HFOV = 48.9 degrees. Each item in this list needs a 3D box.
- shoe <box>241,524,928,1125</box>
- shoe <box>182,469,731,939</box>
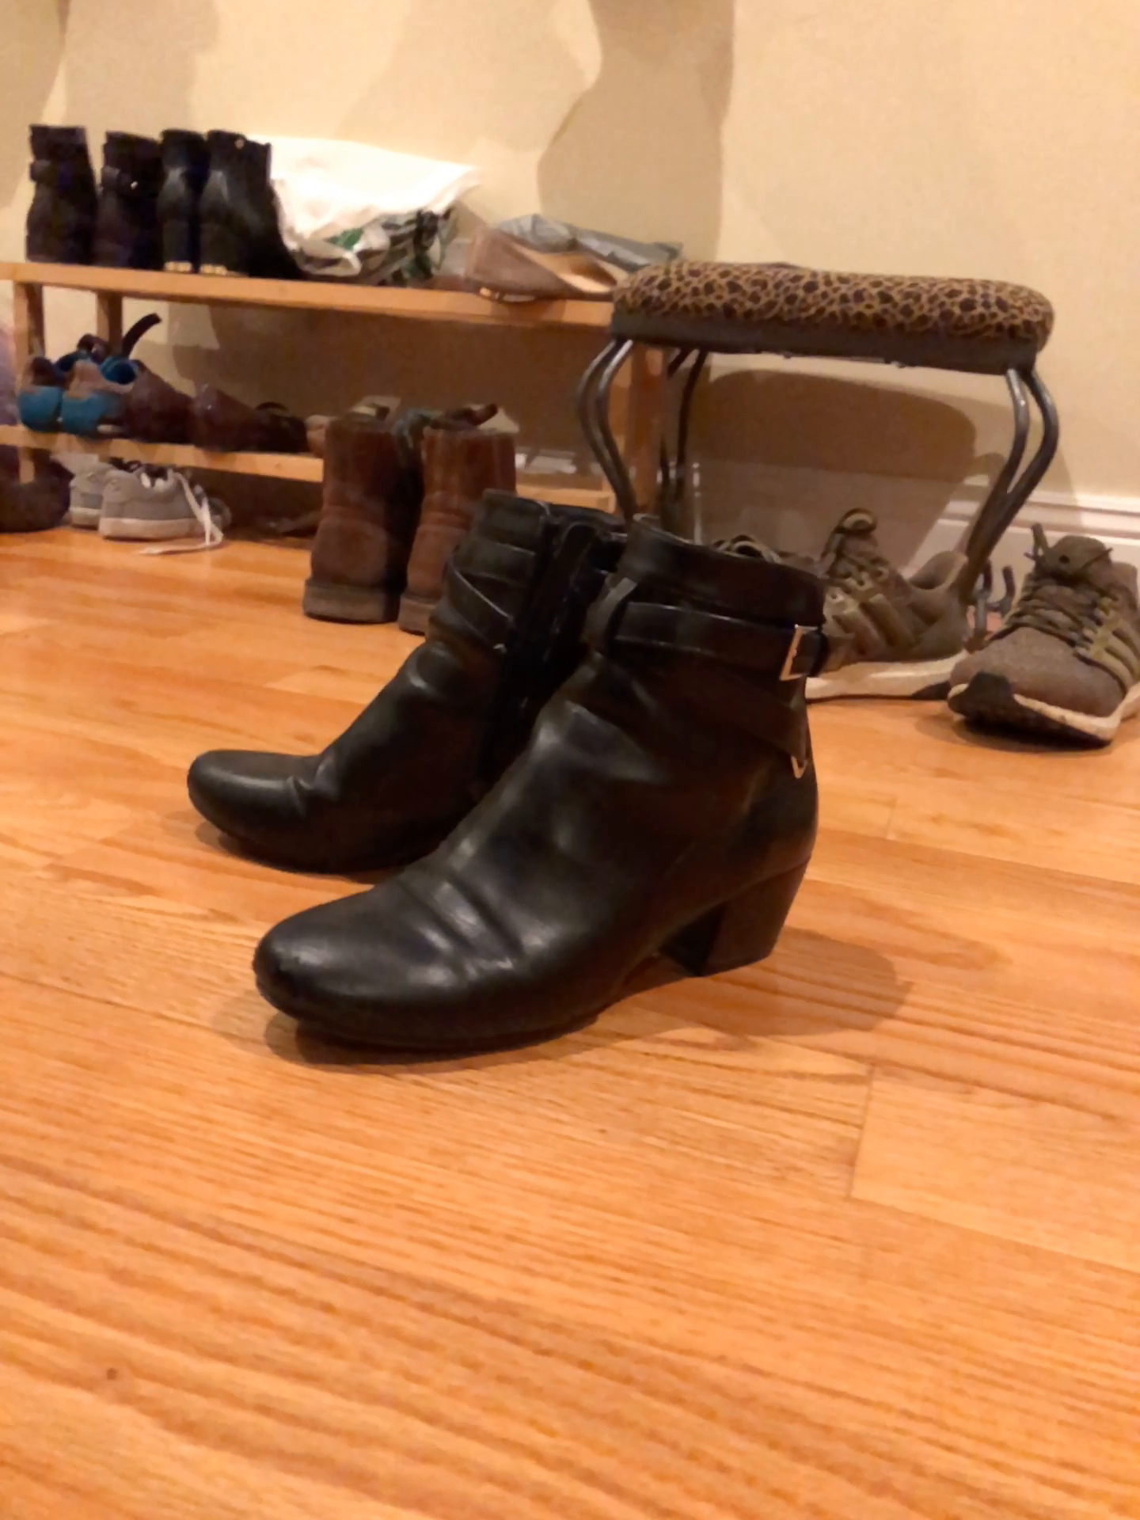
[{"bbox_3d":[0.006,0.008,0.461,0.226,0.172,0.090,-5,18,-33],"label":"shoe"},{"bbox_3d":[-0.054,-0.035,0.581,0.226,0.172,0.090,9,16,14],"label":"shoe"}]
